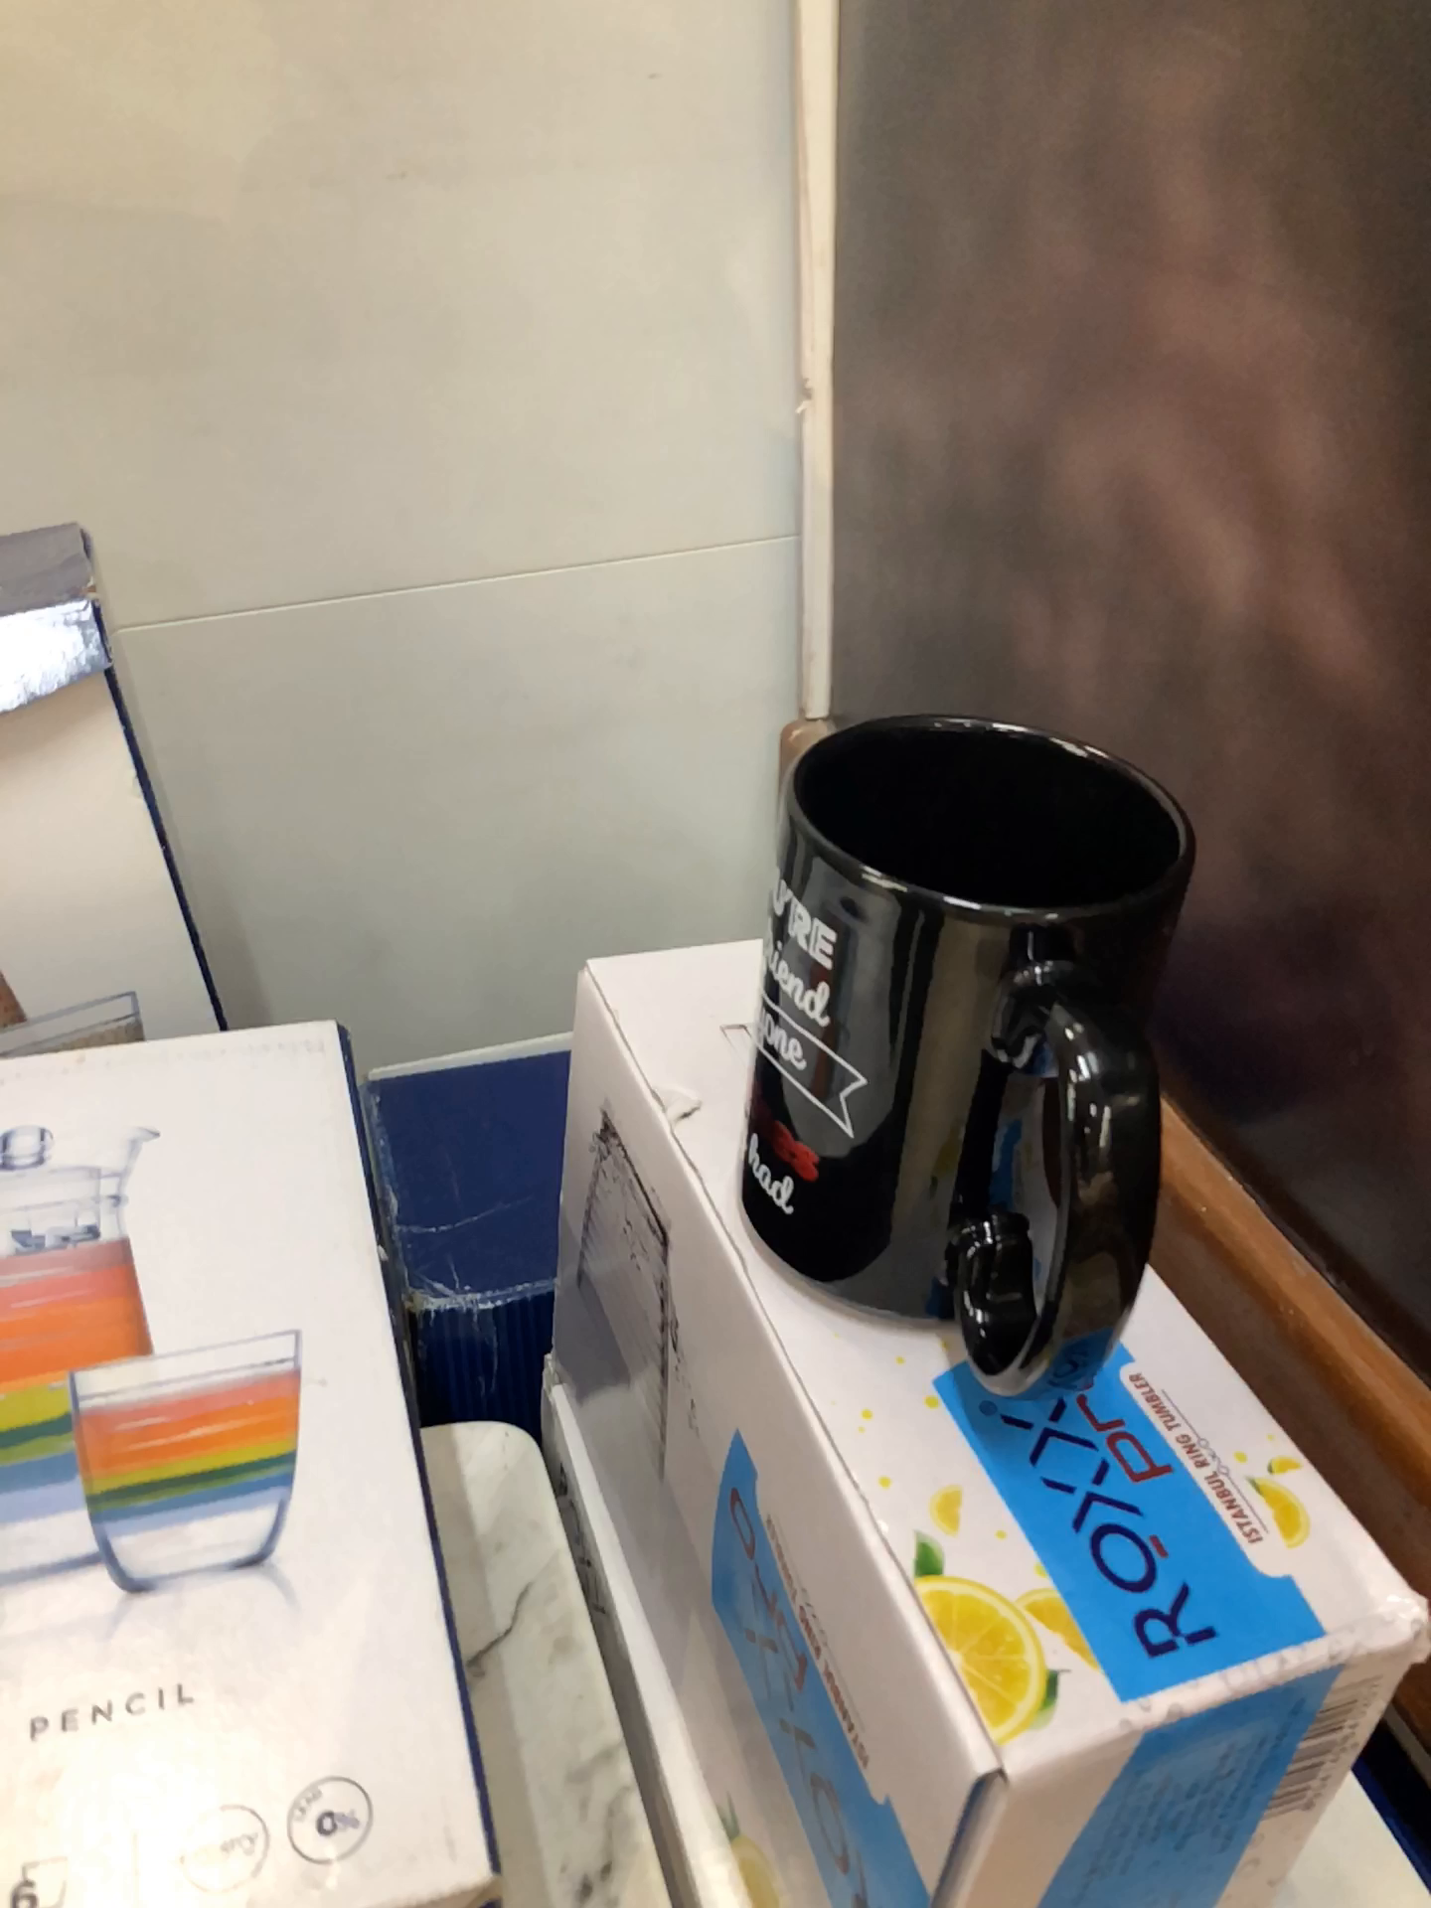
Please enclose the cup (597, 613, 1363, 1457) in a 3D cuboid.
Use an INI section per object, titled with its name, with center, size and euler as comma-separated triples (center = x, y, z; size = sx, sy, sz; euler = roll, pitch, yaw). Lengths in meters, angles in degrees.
[cup]
center = 0.037, 0.006, 0.318
size = 0.090, 0.109, 0.131
euler = -3, 31, -16
